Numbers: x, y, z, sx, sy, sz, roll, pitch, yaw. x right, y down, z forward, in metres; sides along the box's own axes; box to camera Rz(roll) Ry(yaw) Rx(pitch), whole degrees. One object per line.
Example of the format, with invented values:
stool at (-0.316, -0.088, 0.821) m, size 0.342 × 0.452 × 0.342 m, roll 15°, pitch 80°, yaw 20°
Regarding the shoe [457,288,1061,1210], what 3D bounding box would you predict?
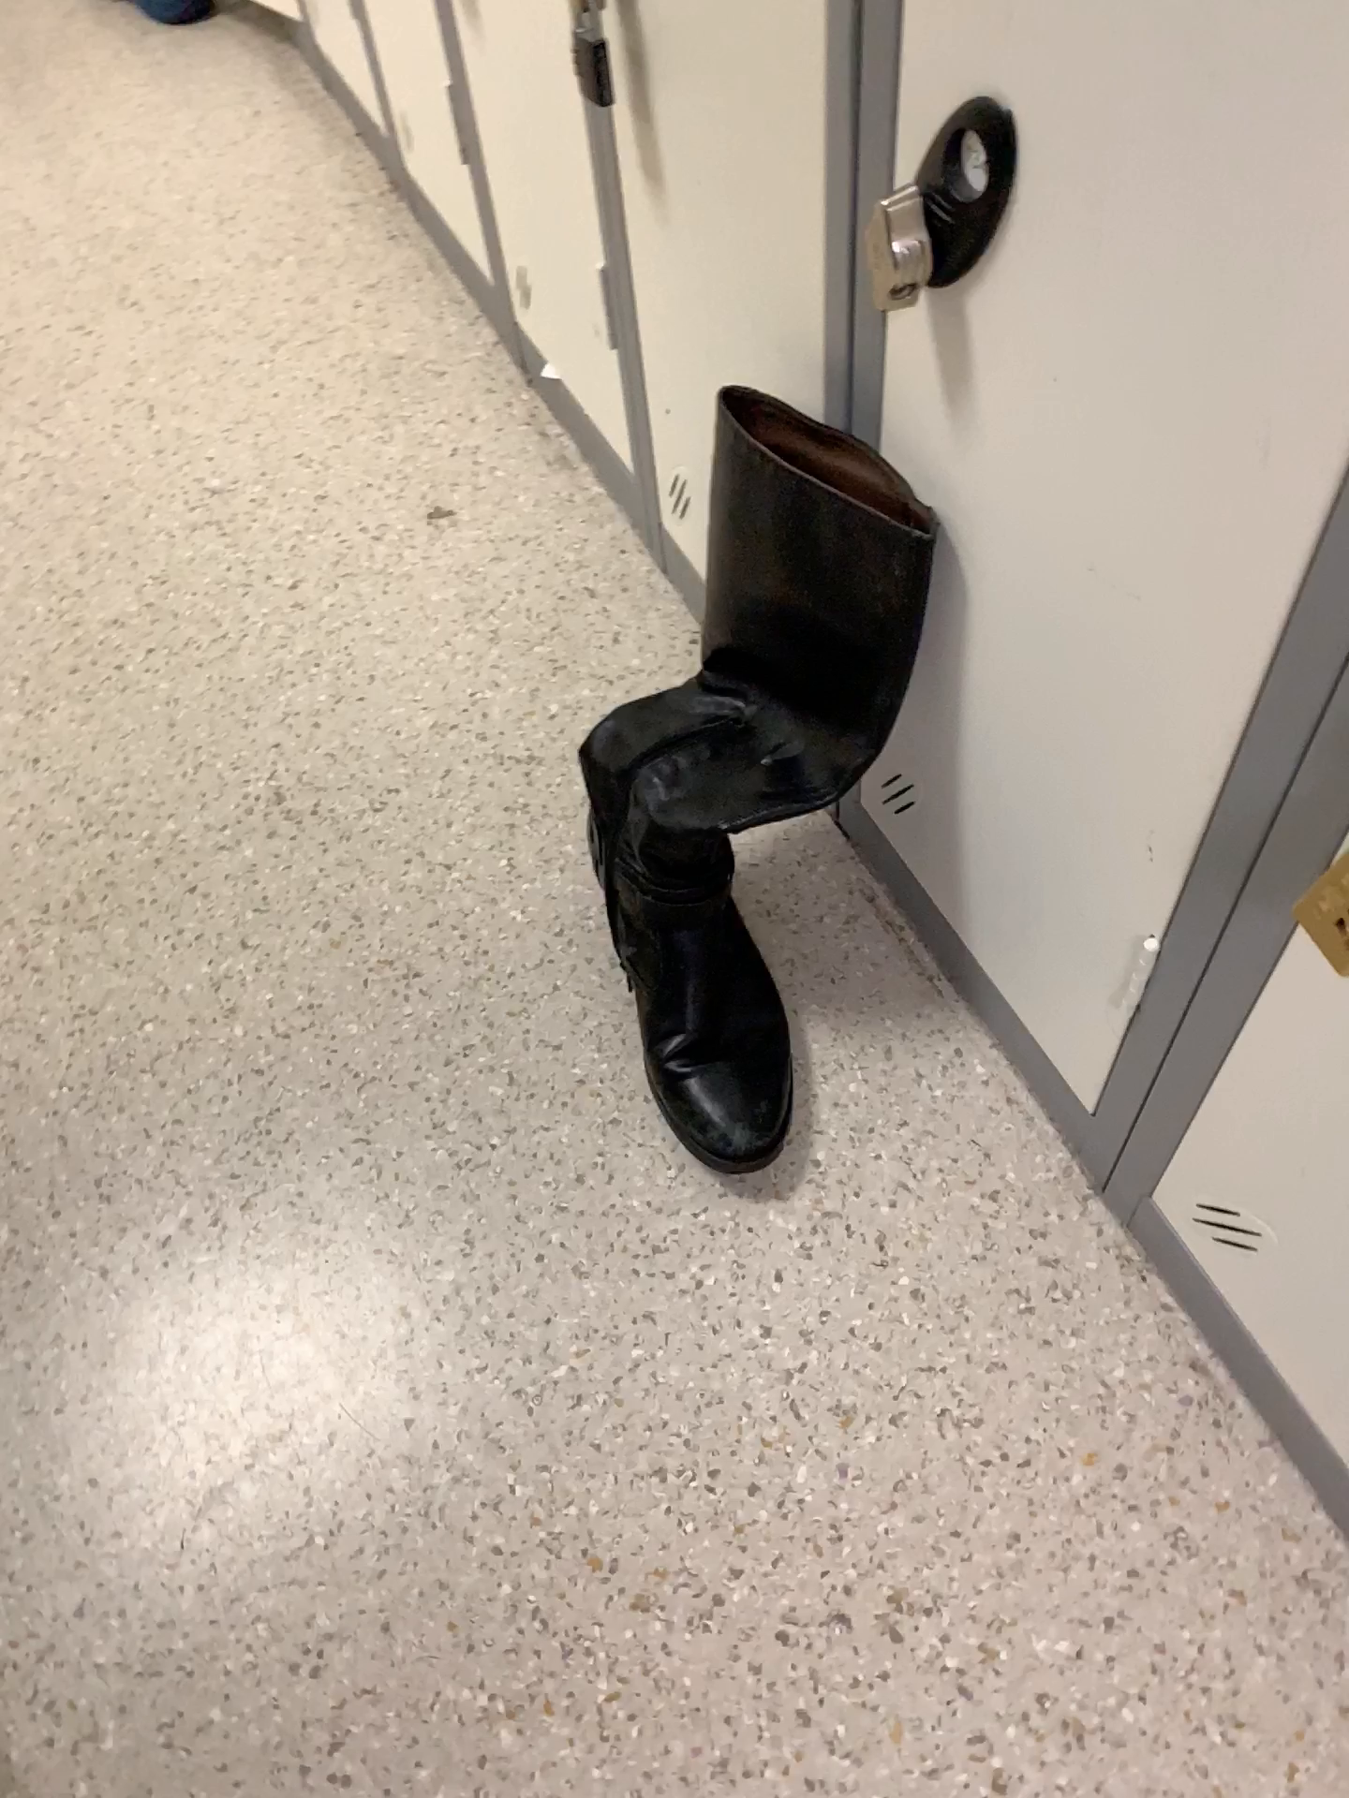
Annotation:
shoe at (0.028, -0.067, 0.725) m, size 0.167 × 0.331 × 0.316 m, roll -15°, pitch 55°, yaw -7°
